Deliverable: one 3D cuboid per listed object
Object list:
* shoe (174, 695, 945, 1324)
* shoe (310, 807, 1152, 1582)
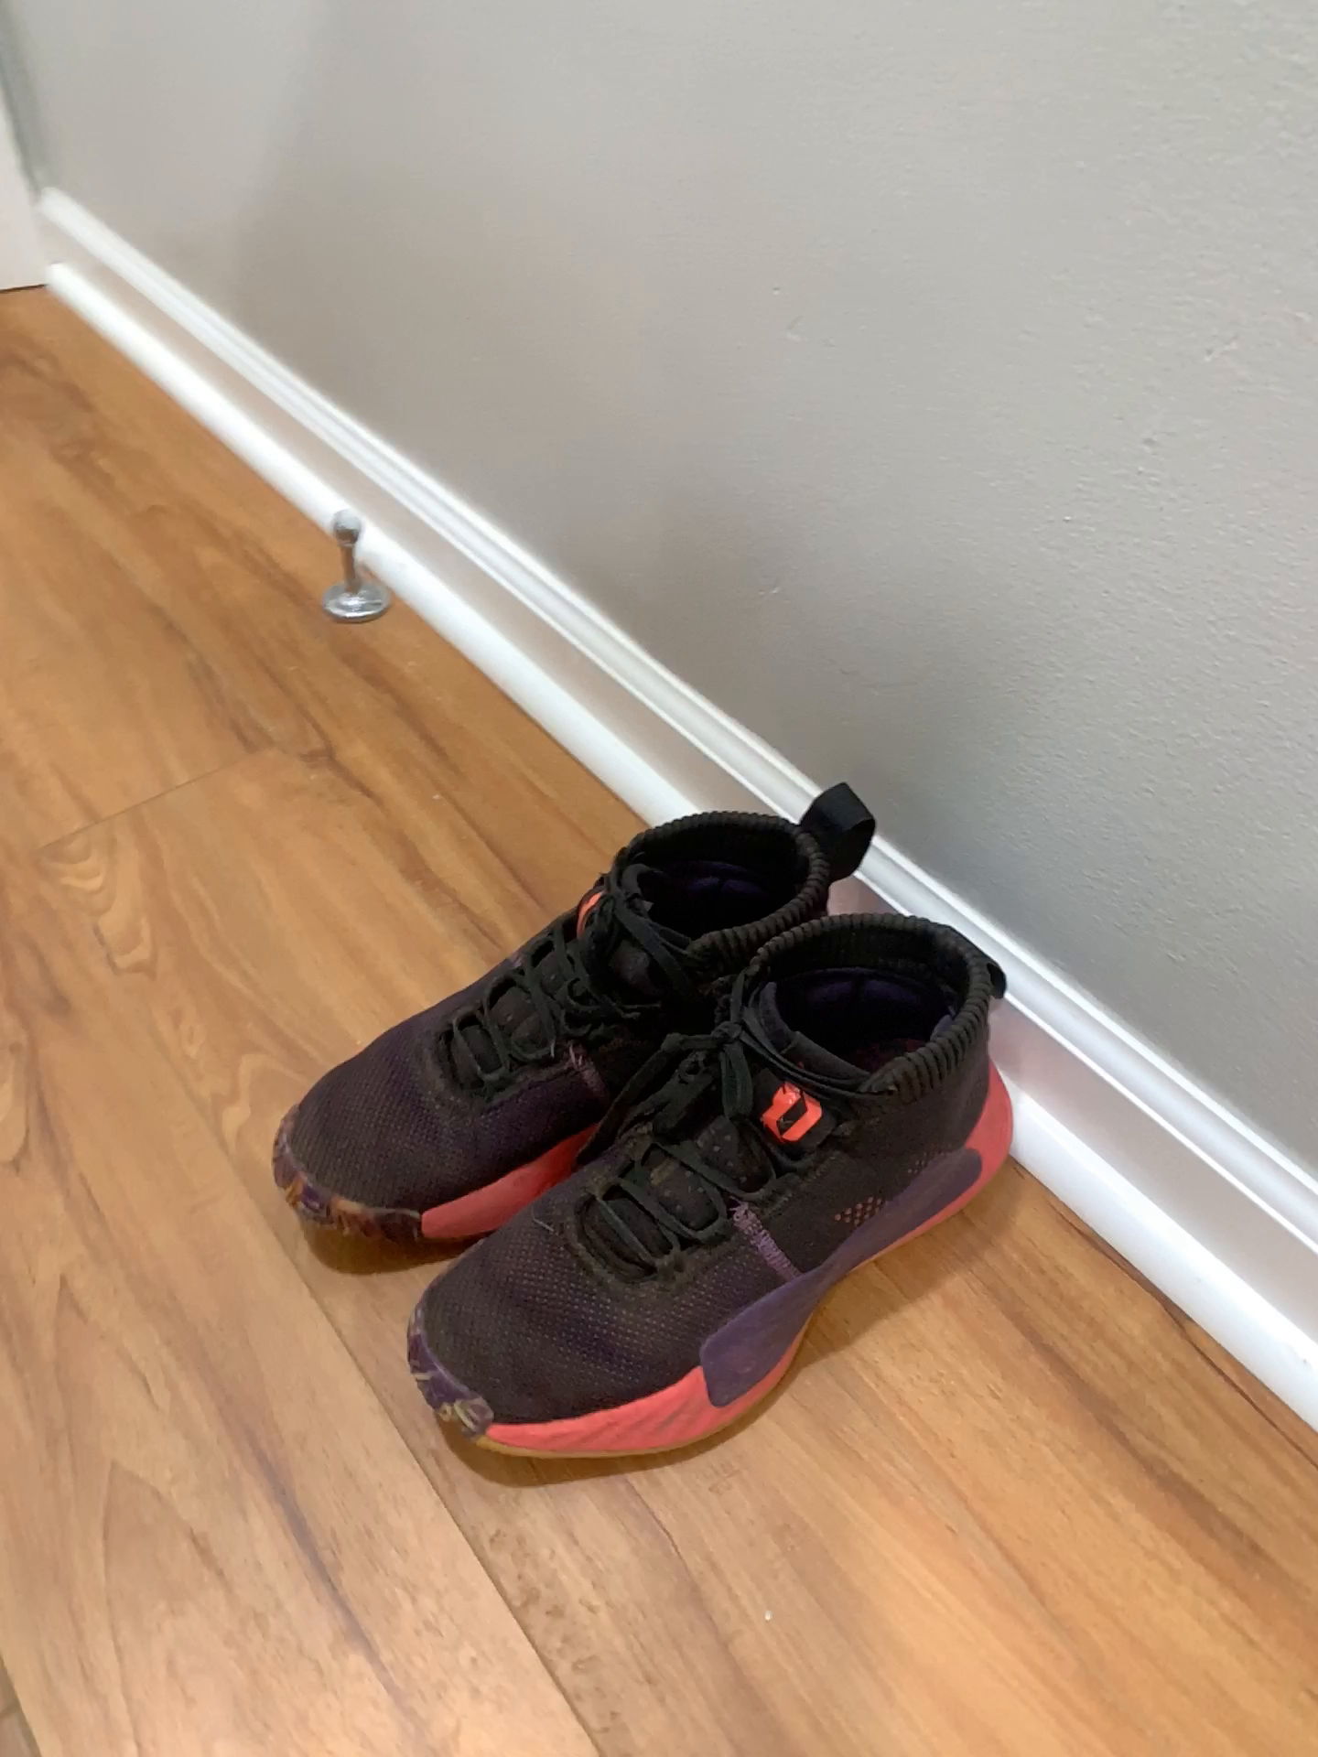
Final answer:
[{"bbox_3d":[-0.036,0.047,0.585,0.286,0.131,0.120,-21,48,-21],"label":"shoe"},{"bbox_3d":[0.033,0.108,0.523,0.286,0.131,0.120,-26,50,-25],"label":"shoe"}]
